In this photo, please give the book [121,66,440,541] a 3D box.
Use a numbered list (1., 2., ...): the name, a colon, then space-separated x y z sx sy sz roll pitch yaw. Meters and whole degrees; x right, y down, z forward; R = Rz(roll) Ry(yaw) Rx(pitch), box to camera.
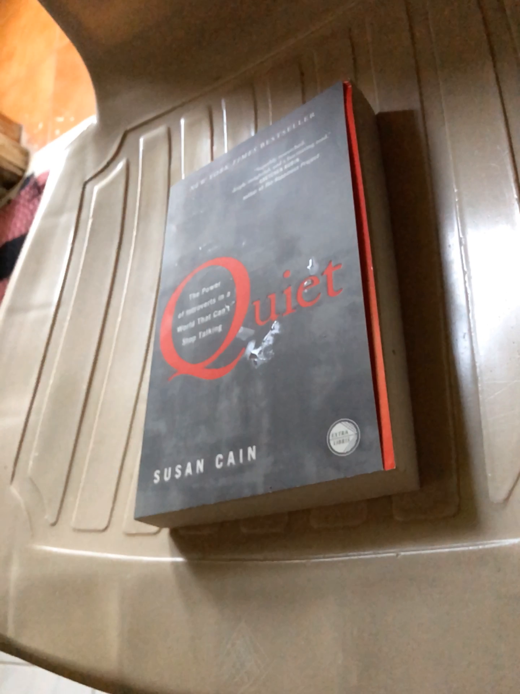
1. book: 0.001 -0.021 0.275 0.131 0.030 0.200 -19 57 31
